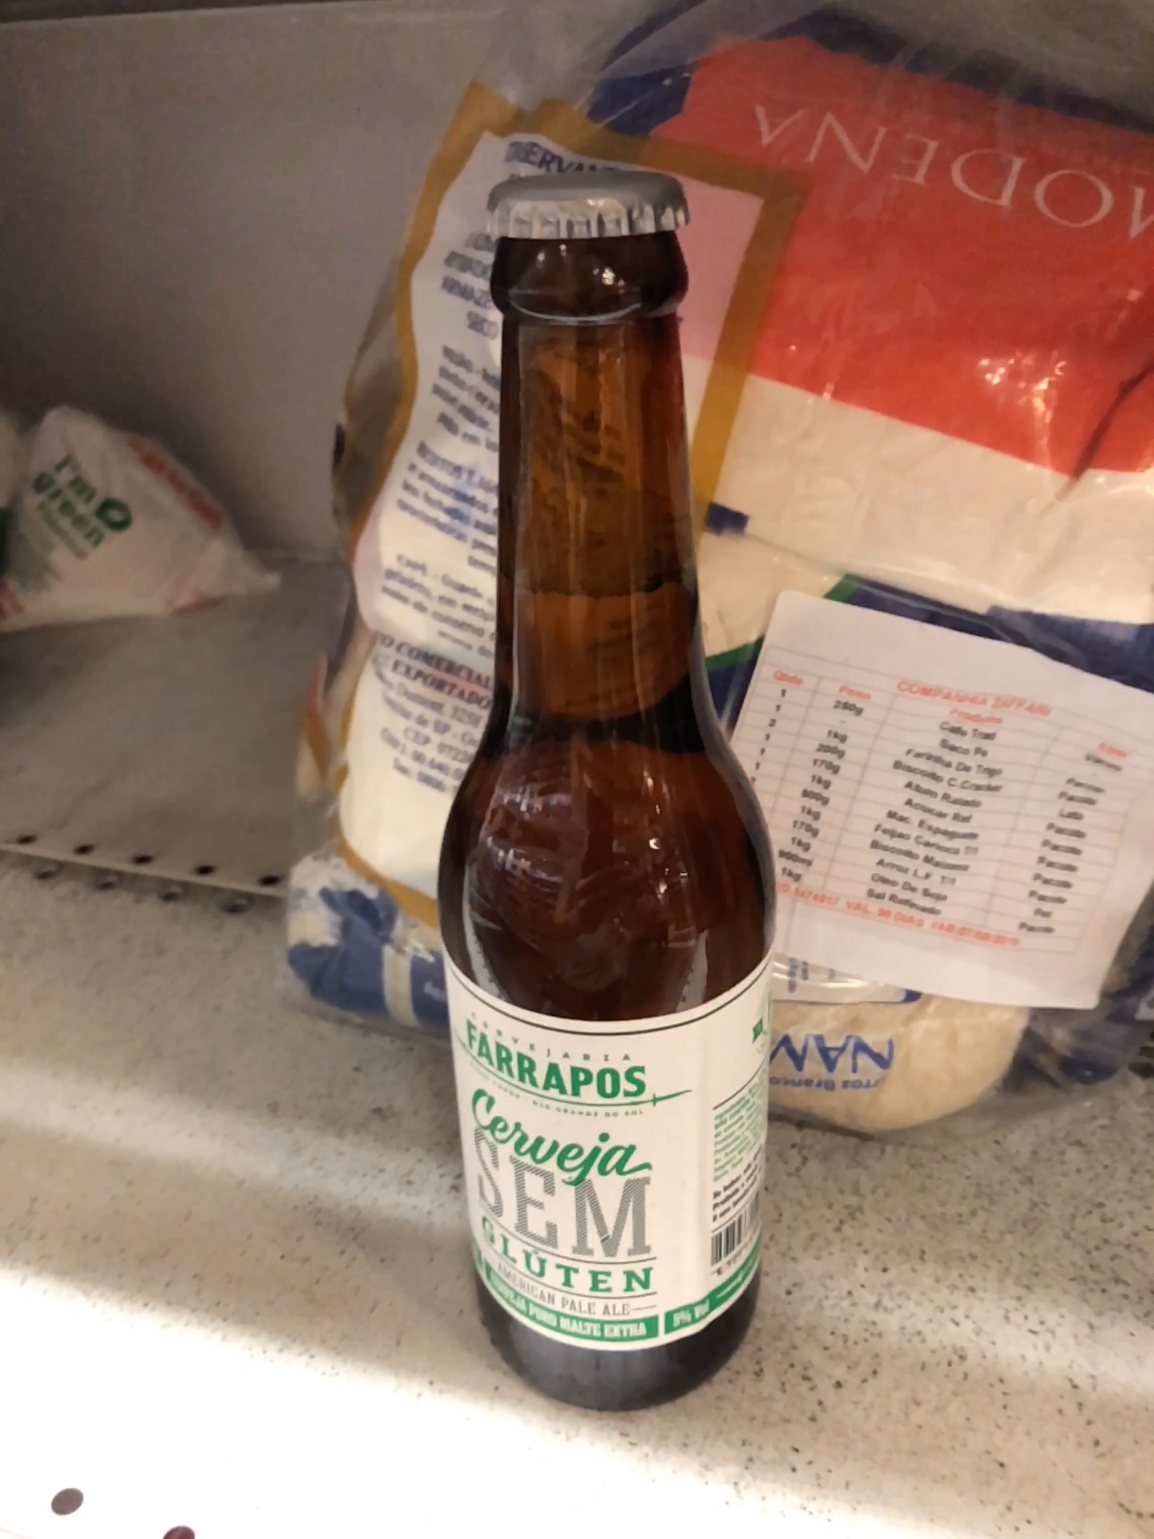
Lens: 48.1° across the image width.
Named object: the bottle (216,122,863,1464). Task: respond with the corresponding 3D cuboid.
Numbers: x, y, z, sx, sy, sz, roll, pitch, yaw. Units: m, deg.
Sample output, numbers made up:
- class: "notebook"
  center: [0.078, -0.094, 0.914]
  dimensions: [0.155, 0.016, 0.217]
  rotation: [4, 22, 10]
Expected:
- class: "bottle"
  center: [0.002, 0.015, 0.230]
  dimensions: [0.070, 0.228, 0.060]
  rotation: [8, 31, 18]
